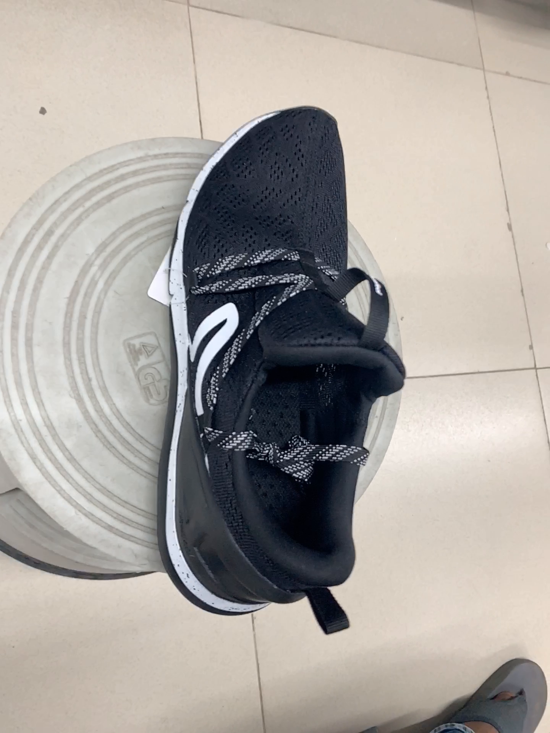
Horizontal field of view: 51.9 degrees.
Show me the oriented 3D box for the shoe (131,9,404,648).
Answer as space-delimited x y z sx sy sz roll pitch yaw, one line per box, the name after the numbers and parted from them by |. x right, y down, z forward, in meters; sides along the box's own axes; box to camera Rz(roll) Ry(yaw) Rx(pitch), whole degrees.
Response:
-0.002 -0.021 0.301 0.100 0.090 0.290 9 73 -22 | shoe
